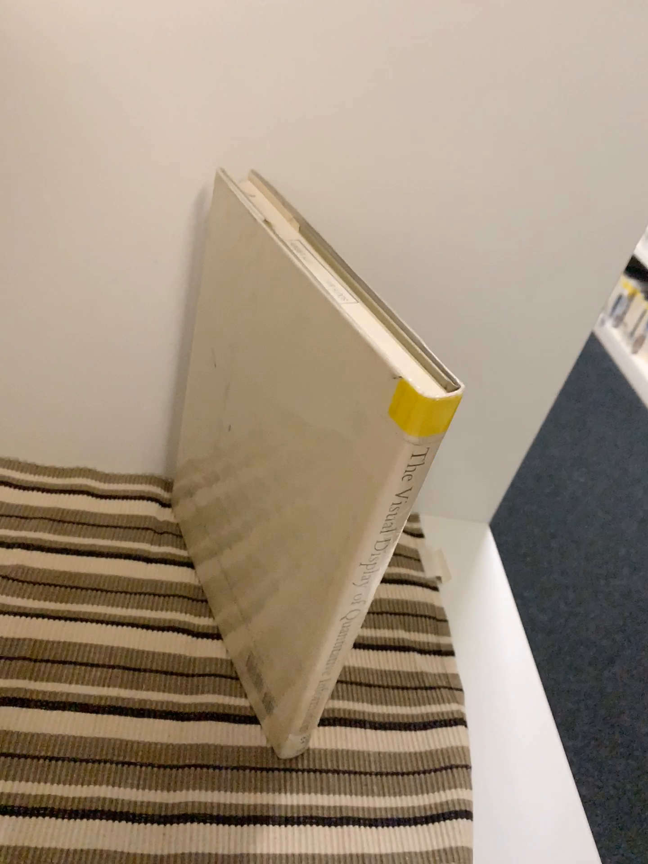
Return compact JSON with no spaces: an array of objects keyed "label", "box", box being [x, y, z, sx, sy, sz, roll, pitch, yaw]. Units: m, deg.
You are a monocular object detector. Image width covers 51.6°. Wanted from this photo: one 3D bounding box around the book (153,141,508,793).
[{"label":"book","box":[-0.038,0.020,0.399,0.040,0.287,0.251,-8,43,-29]}]
